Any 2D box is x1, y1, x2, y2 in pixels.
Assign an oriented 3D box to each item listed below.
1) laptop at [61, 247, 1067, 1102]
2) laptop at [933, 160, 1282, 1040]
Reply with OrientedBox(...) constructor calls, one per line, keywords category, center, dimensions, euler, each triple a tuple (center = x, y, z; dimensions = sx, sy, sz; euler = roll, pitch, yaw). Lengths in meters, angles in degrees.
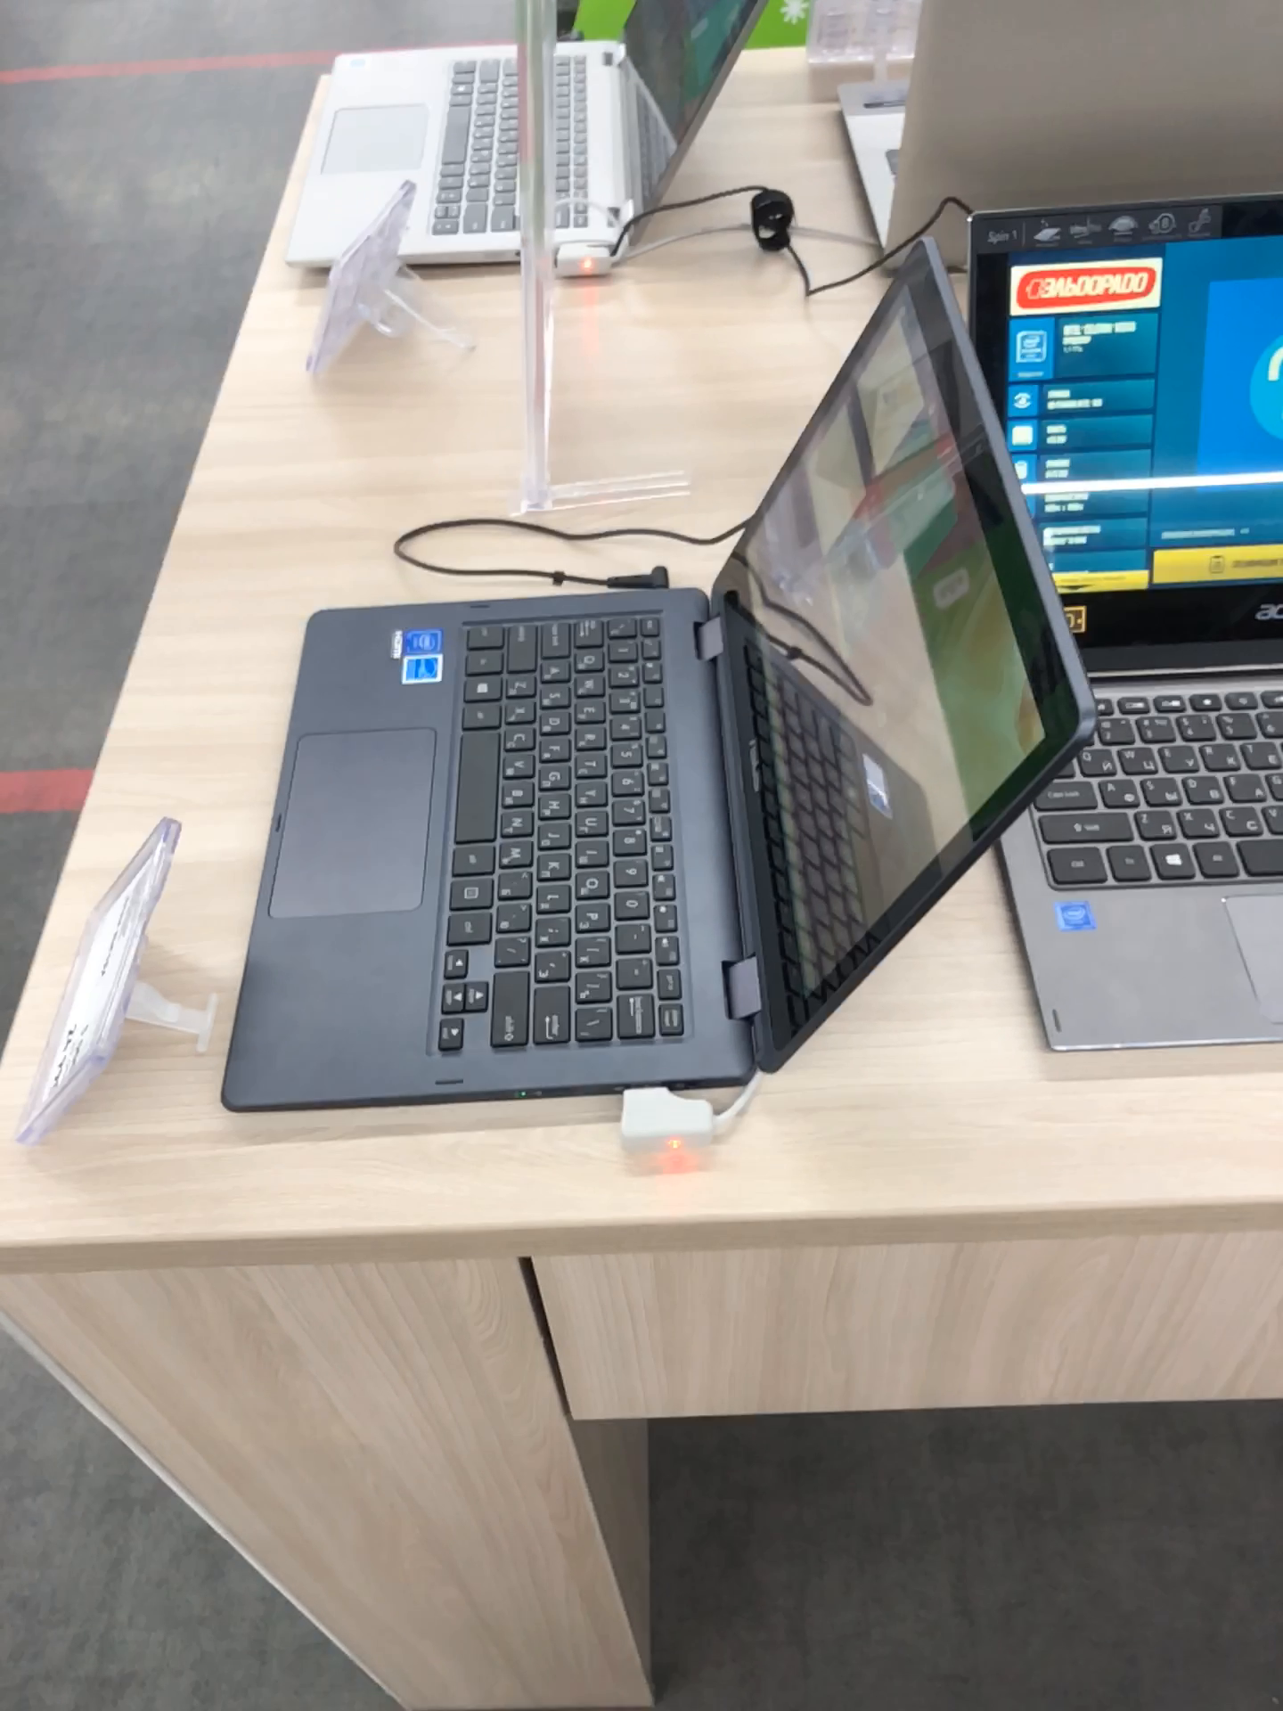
OrientedBox(category="laptop", center=(-0.021, -0.075, 0.541), dimensions=(0.280, 0.166, 0.271), euler=(-3, 50, 2))
OrientedBox(category="laptop", center=(0.273, -0.106, 0.541), dimensions=(0.261, 0.162, 0.300), euler=(-3, 50, 3))
